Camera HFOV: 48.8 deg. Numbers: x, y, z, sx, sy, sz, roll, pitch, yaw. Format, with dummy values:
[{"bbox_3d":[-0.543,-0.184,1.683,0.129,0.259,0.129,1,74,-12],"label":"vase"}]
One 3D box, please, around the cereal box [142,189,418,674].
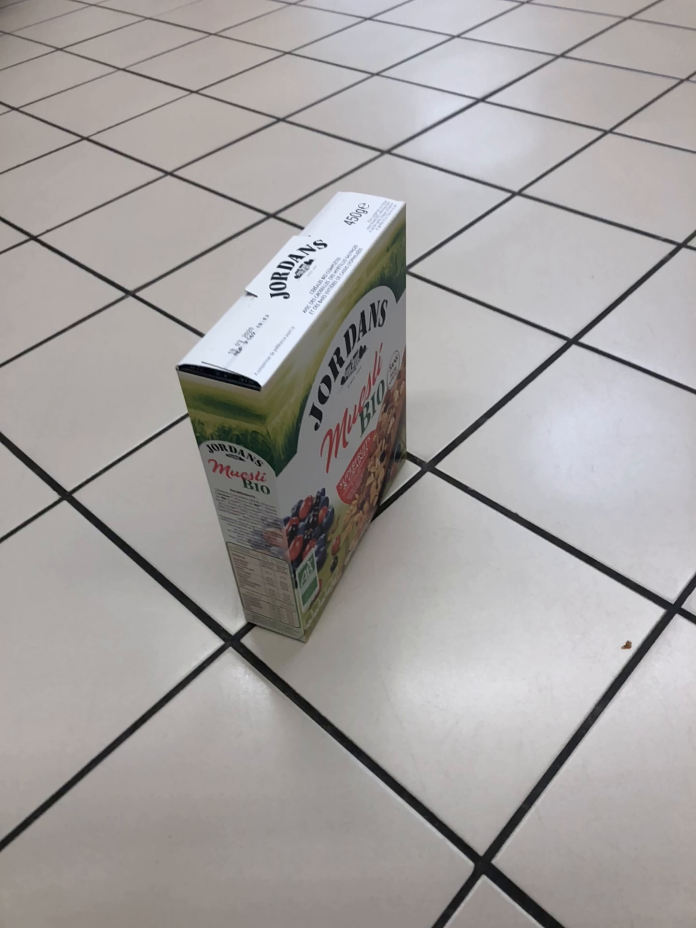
[{"bbox_3d":[-0.022,-0.017,0.468,0.060,0.219,0.191,16,49,17],"label":"cereal box"}]
